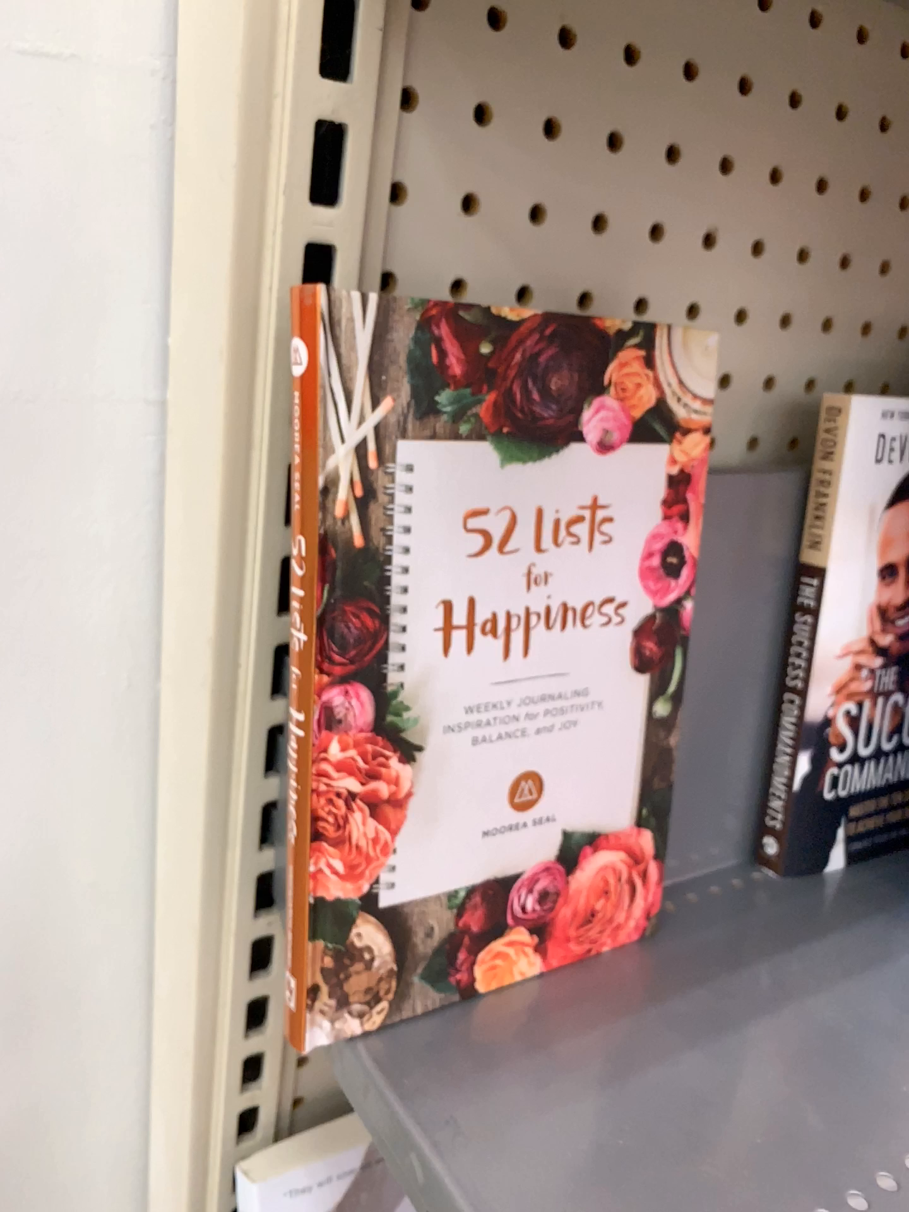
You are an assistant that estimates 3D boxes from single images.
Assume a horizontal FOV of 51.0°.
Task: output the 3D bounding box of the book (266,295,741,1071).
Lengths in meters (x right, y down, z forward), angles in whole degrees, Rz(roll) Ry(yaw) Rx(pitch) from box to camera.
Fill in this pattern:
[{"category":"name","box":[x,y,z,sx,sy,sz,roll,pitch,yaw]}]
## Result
[{"category":"book","box":[0.017,0.021,0.299,0.150,0.216,0.020,-5,15,-29]}]
